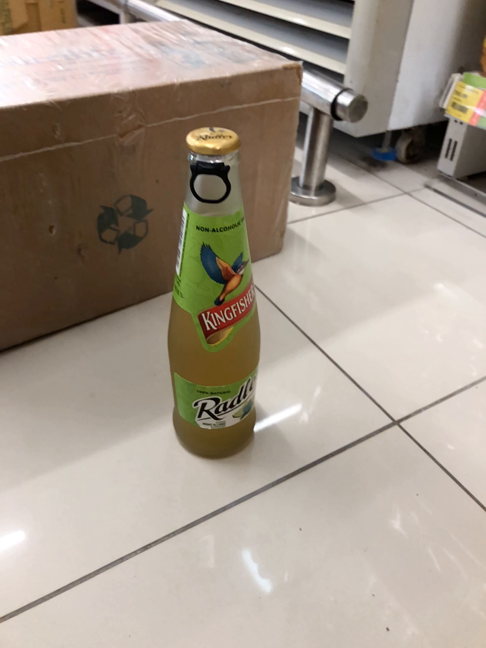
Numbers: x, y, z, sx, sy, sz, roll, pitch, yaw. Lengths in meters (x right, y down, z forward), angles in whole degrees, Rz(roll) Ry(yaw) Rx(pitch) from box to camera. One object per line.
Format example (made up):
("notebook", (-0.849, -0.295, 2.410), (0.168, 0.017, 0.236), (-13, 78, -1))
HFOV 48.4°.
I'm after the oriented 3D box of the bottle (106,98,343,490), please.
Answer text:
("bottle", (-0.013, -0.011, 0.313), (0.080, 0.199, 0.080), (2, 38, -1))
